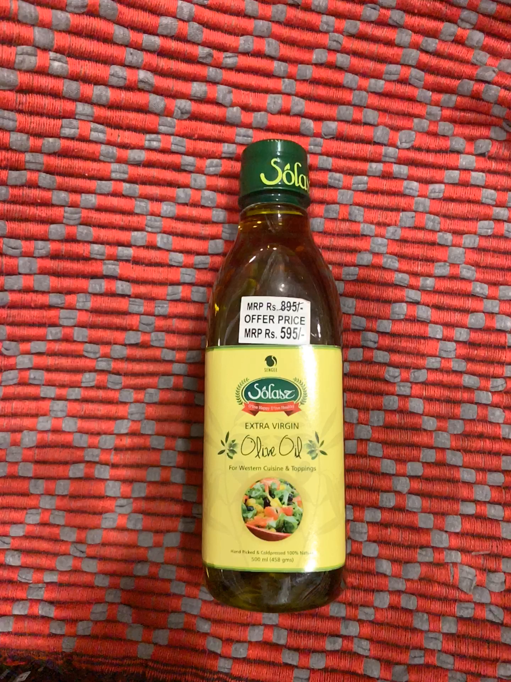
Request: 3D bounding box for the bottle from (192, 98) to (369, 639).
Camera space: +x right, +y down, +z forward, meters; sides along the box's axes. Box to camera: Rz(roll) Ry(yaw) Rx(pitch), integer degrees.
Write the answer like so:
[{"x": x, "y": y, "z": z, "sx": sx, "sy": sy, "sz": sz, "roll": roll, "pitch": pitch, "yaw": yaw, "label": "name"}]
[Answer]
[{"x": 0.012, "y": 0.007, "z": 0.232, "sx": 0.060, "sy": 0.070, "sz": 0.200, "roll": 0, "pitch": 80, "yaw": 4, "label": "bottle"}]
